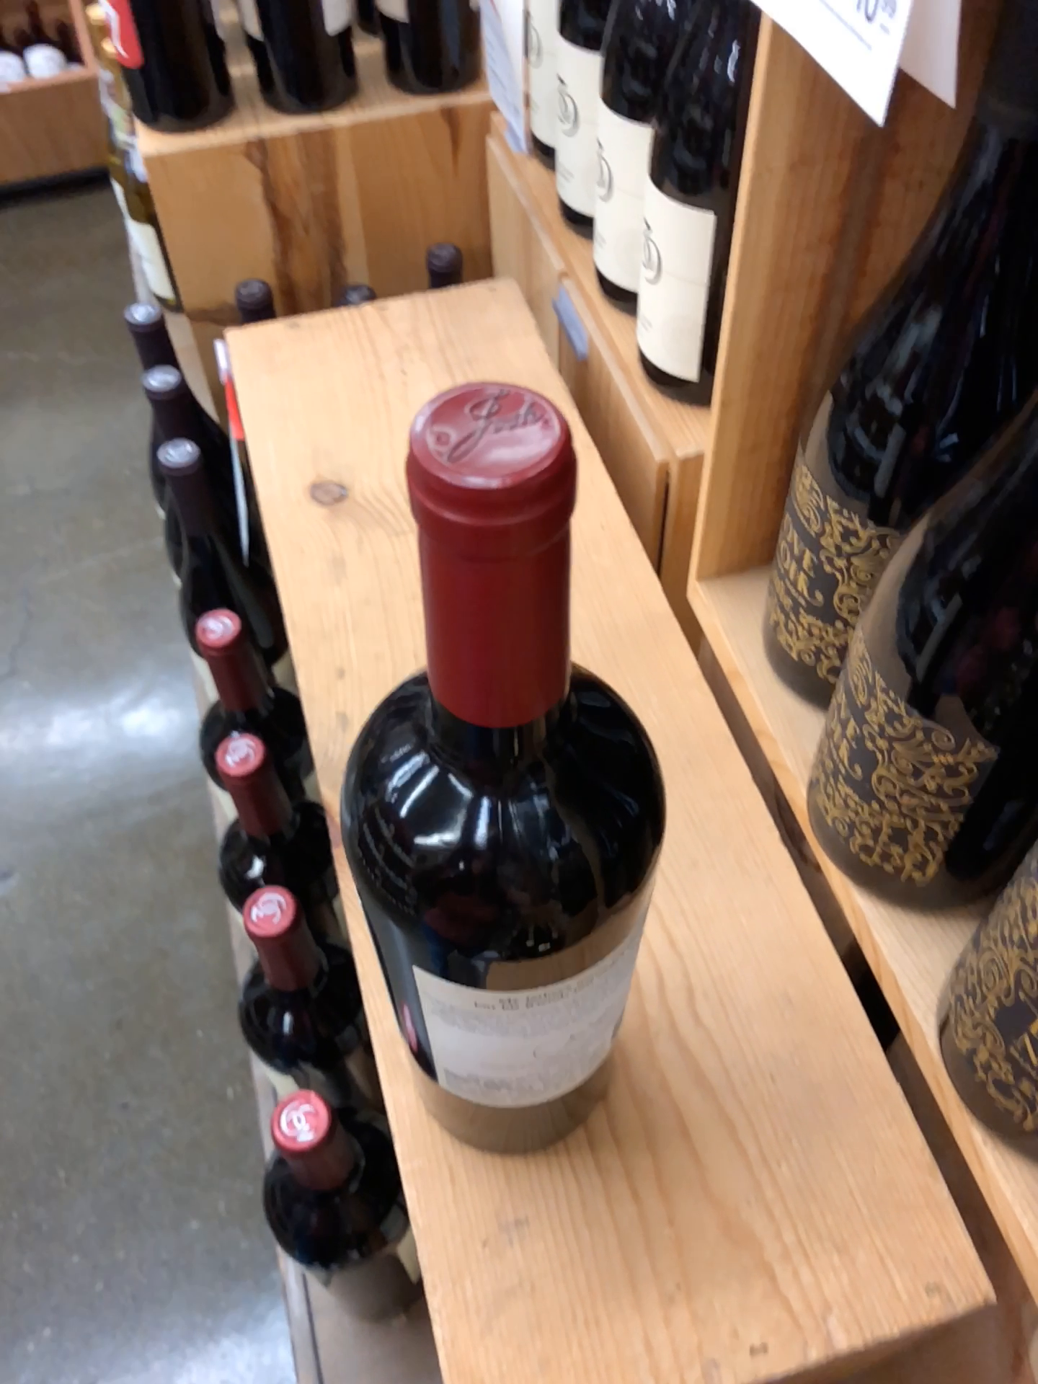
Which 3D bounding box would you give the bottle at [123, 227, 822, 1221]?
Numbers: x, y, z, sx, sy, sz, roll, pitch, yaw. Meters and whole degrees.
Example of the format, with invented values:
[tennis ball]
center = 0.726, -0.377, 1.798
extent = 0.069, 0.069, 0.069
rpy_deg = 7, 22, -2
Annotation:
[bottle]
center = -0.003, 0.044, 0.304
extent = 0.081, 0.294, 0.080
rpy_deg = -1, 53, 1
